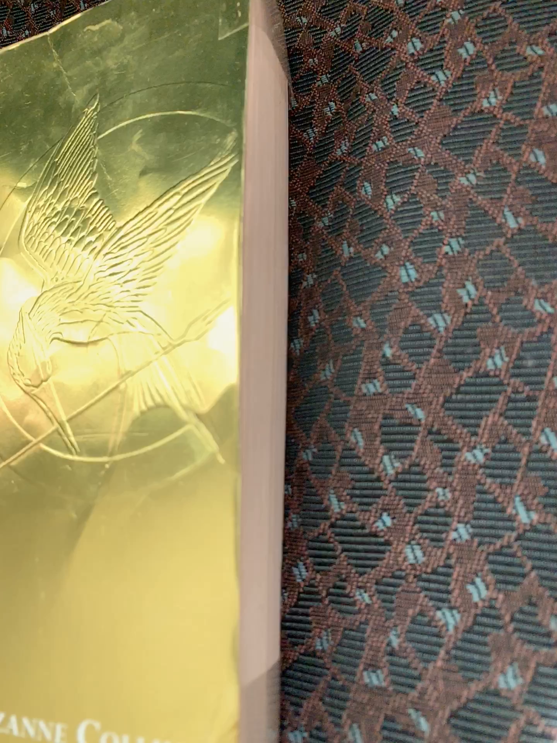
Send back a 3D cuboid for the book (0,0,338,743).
[{"bbox_3d":[-0.059,-0.008,0.162,0.142,0.037,0.200,-6,74,23],"label":"book"}]
